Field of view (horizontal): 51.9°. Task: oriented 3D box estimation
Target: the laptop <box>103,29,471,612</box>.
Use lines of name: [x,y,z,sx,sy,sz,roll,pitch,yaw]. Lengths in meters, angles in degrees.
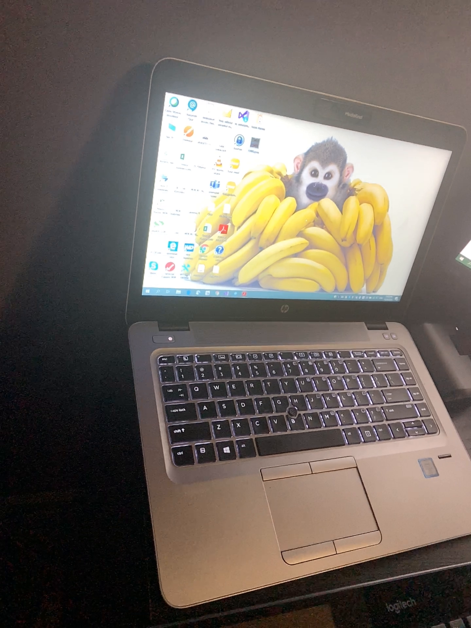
laptop: [0.081,-0.009,0.393,0.318,0.191,0.326,0,54,-24]
